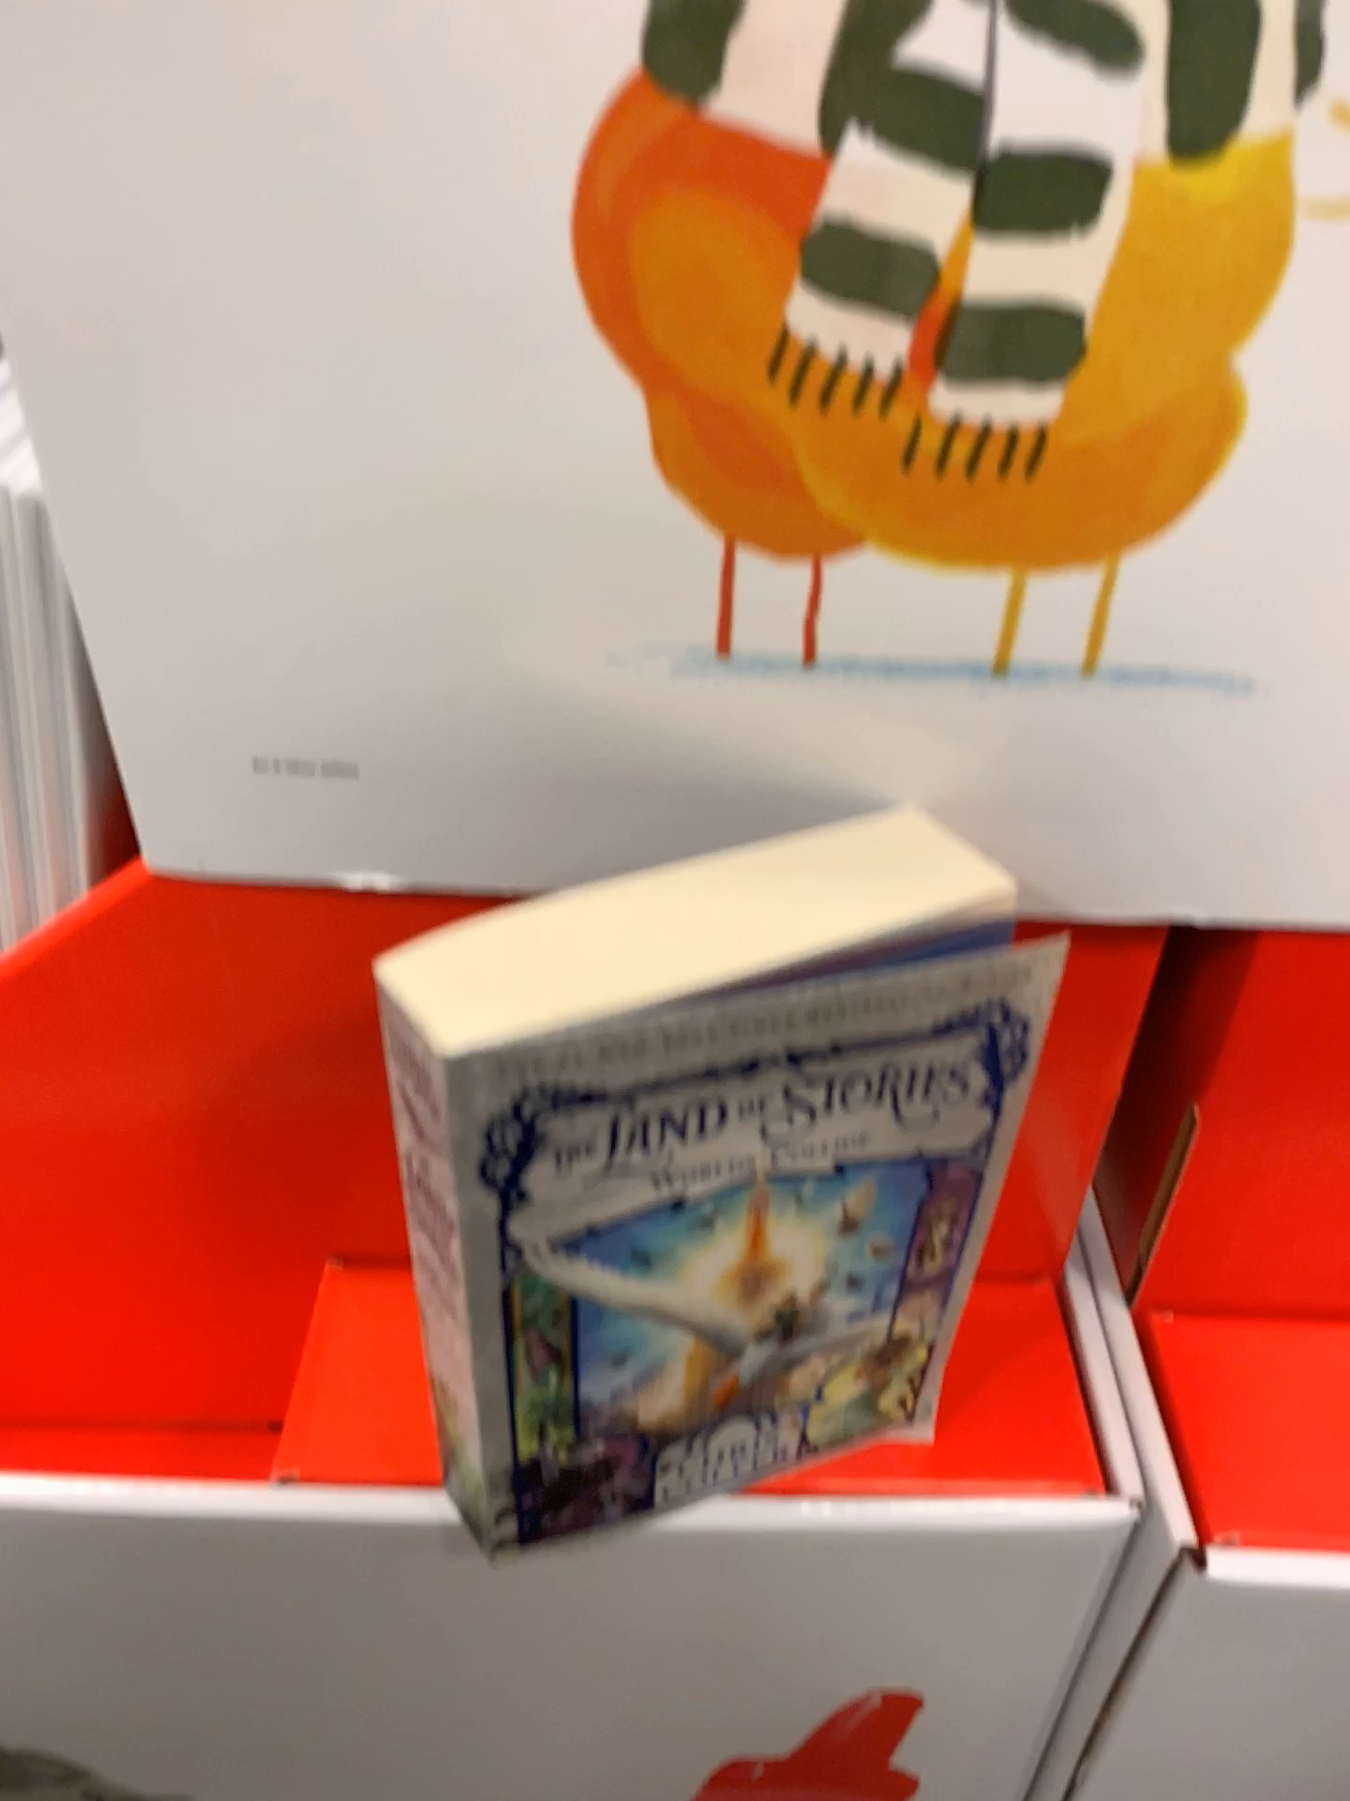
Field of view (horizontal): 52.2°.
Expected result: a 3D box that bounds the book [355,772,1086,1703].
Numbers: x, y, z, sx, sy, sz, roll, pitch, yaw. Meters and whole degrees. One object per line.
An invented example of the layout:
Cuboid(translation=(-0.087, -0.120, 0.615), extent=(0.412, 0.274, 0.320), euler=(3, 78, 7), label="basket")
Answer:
Cuboid(translation=(0.010, 0.084, 0.330), extent=(0.130, 0.193, 0.065), euler=(-19, 41, -24), label="book")
